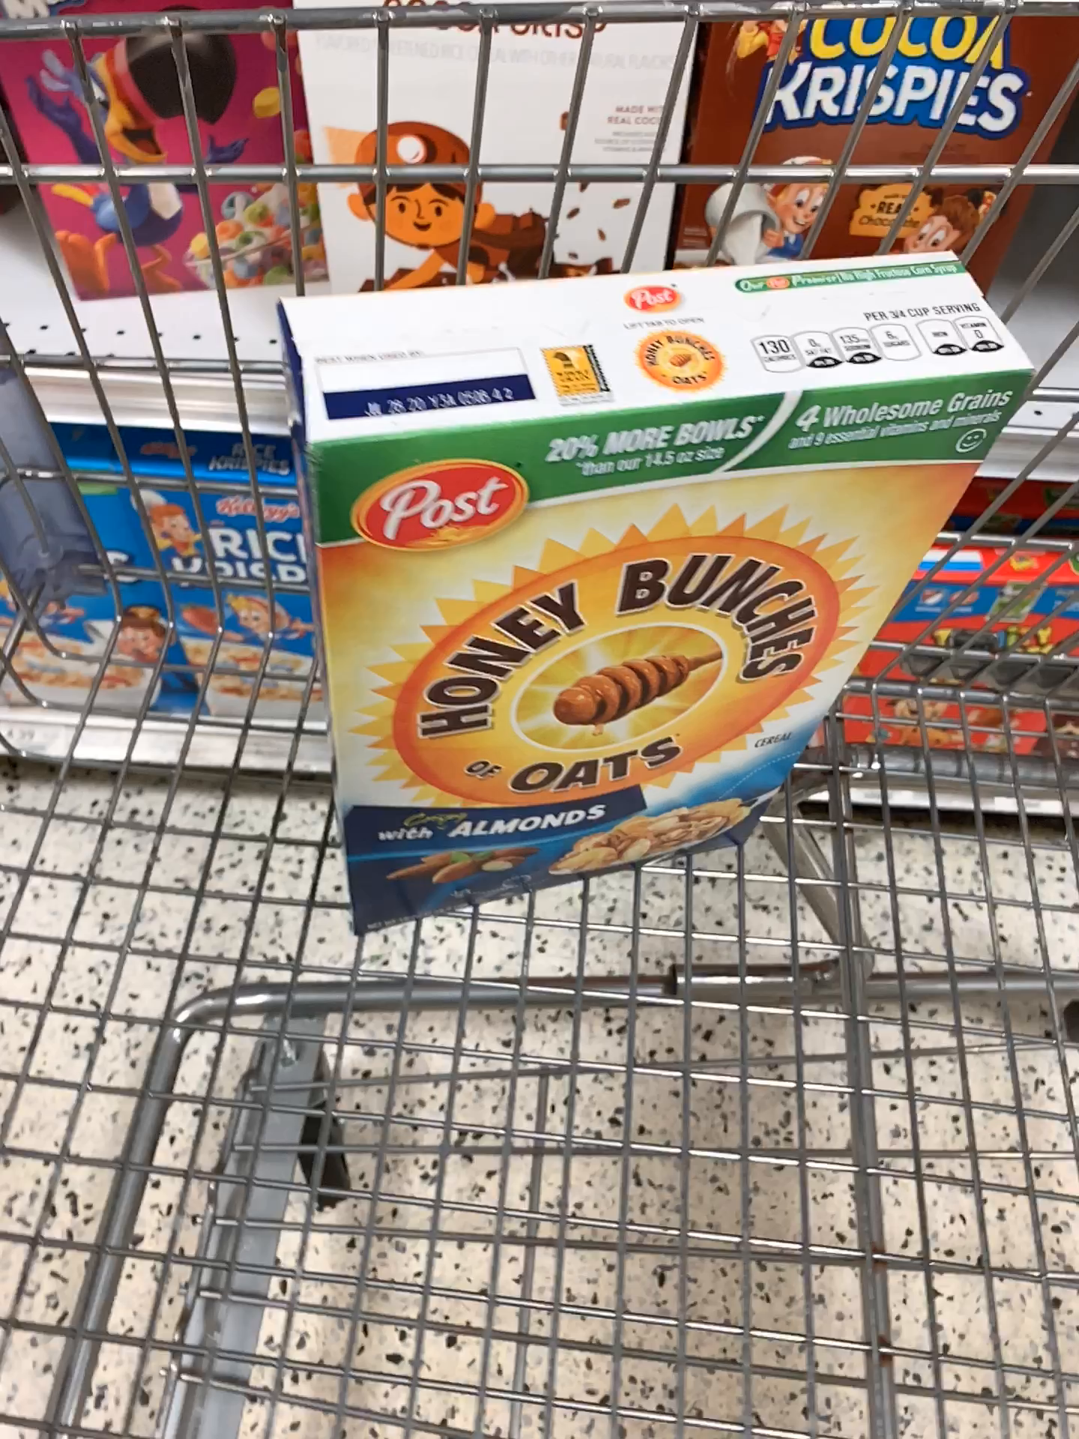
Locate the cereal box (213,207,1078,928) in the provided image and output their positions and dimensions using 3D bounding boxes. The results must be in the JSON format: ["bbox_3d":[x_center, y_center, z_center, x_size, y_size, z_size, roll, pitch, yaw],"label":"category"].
[{"bbox_3d":[0.017,-0.024,0.410,0.210,0.308,0.060,-9,61,-10],"label":"cereal box"}]
